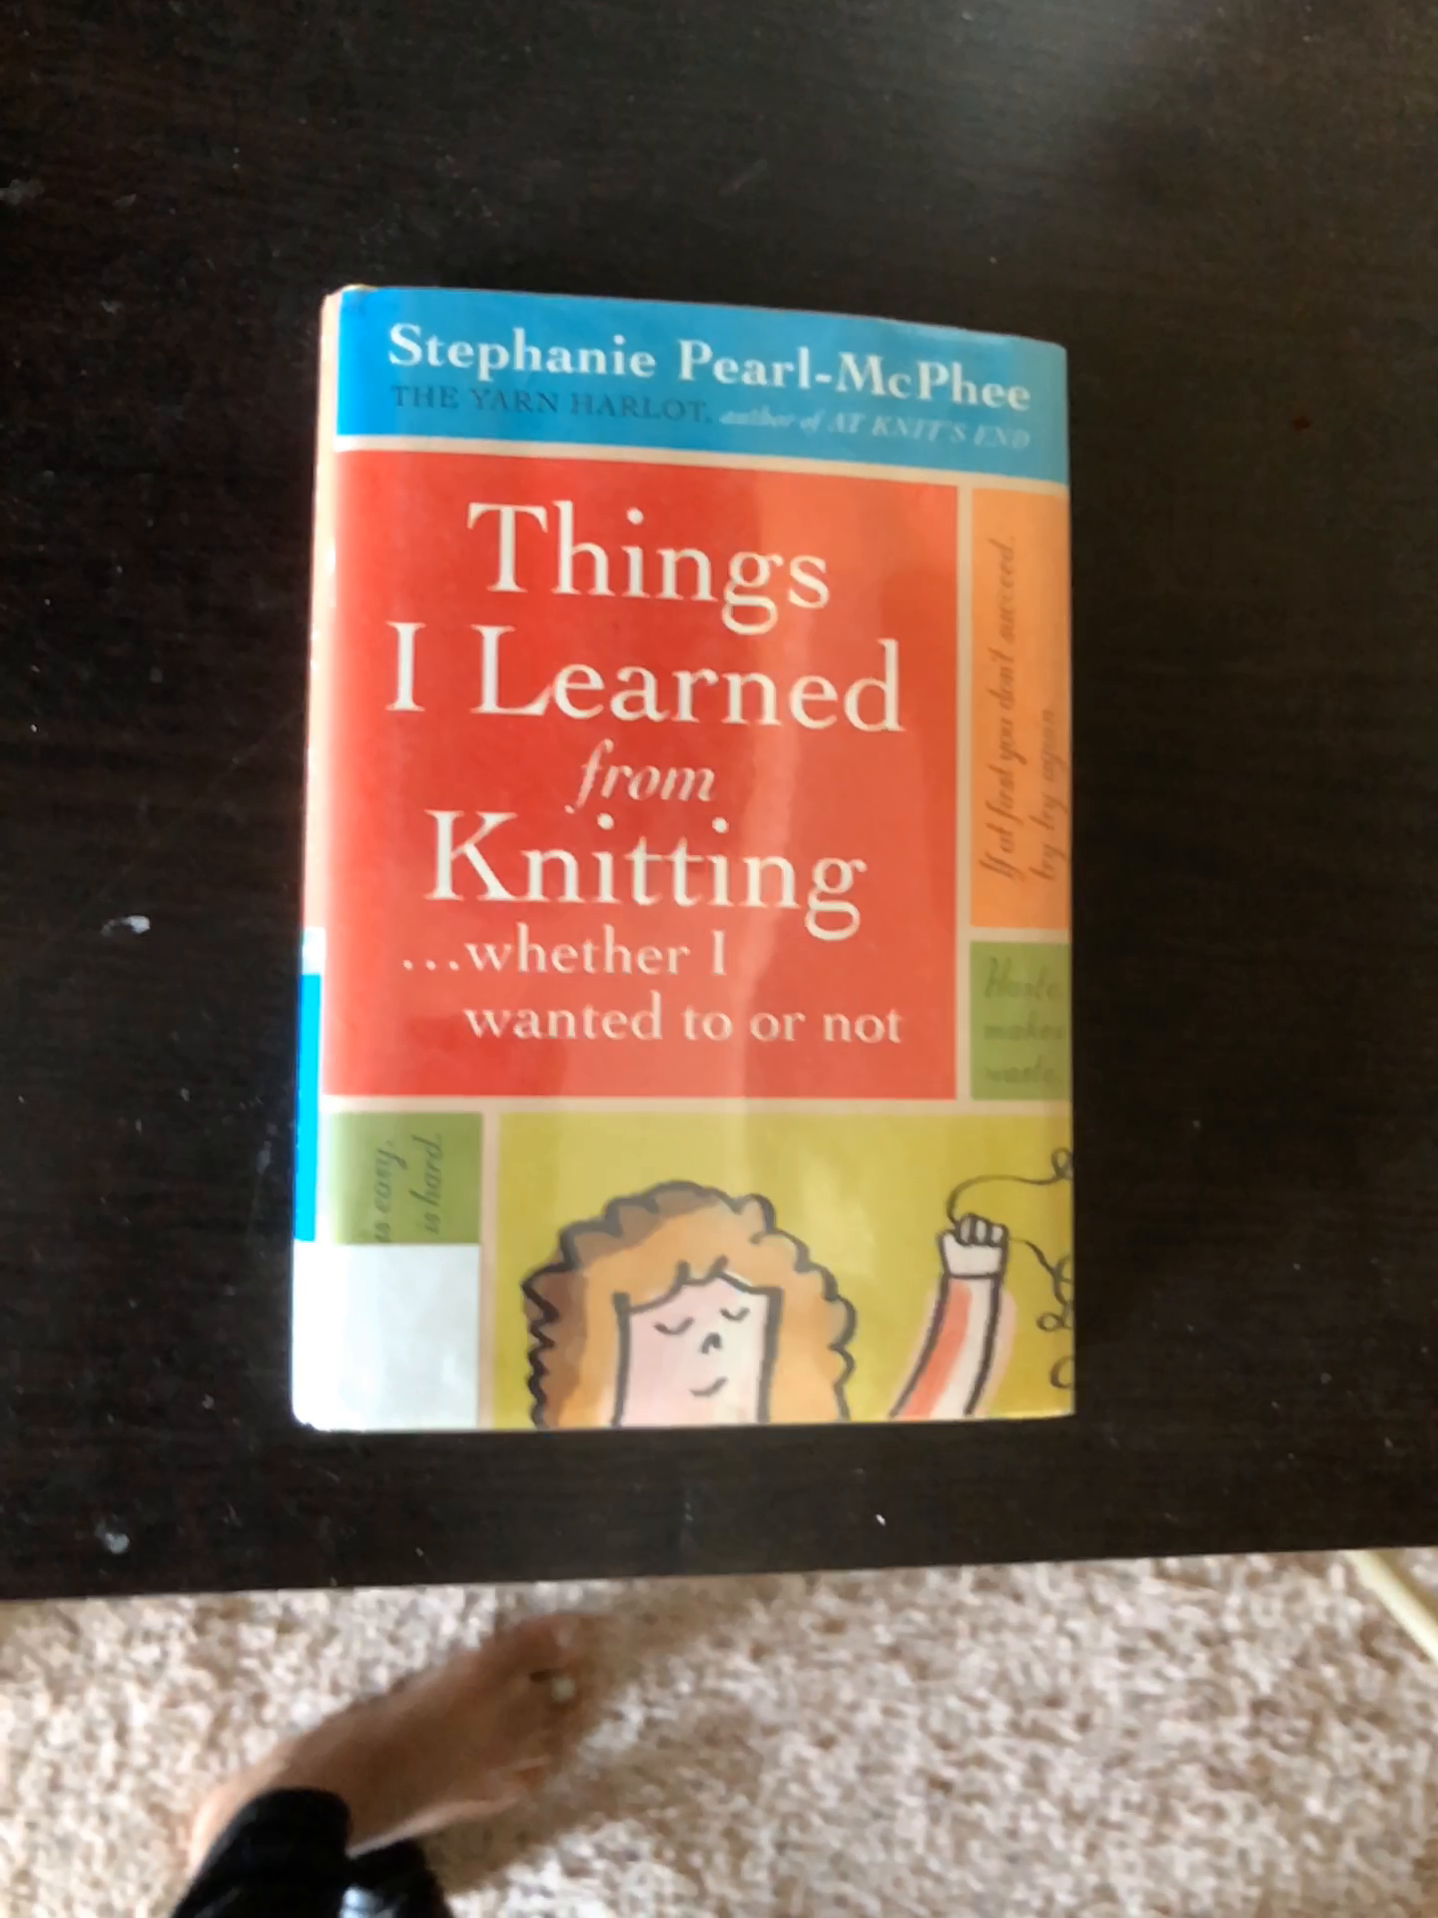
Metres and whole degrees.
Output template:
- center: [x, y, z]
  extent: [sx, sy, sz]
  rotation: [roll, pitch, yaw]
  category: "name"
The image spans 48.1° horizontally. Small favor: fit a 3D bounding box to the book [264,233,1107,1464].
- center: [-0.003, -0.015, 0.239]
  extent: [0.118, 0.023, 0.166]
  rotation: [1, 86, -11]
  category: "book"
